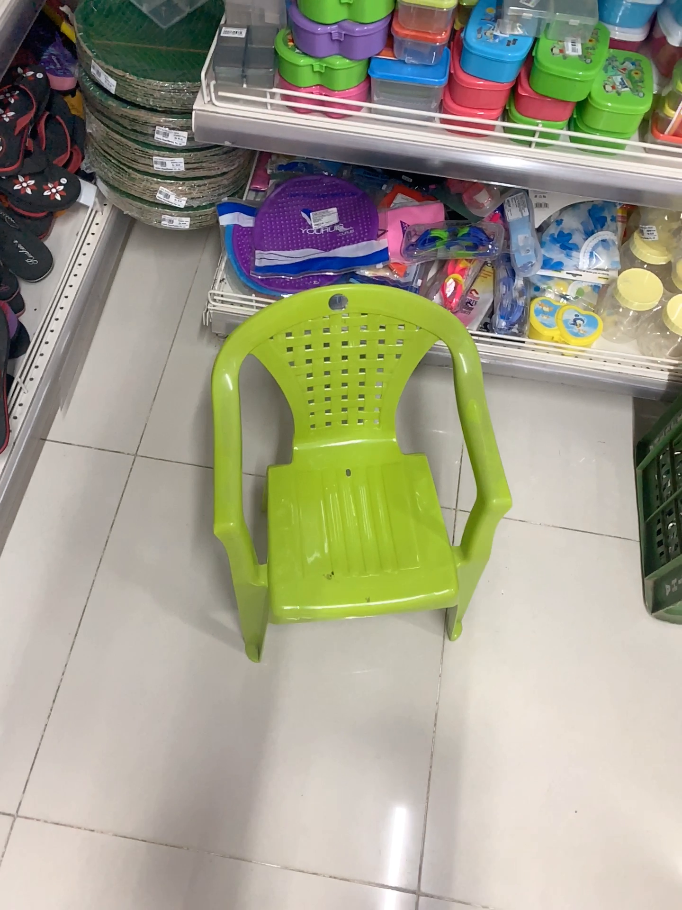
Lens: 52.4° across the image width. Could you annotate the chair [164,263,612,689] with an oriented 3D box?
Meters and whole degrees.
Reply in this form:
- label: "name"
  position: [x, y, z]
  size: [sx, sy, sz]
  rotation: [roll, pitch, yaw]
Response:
- label: "chair"
  position: [0.022, 0.065, 0.888]
  size: [0.390, 0.469, 0.360]
  rotation: [-4, 65, -3]
